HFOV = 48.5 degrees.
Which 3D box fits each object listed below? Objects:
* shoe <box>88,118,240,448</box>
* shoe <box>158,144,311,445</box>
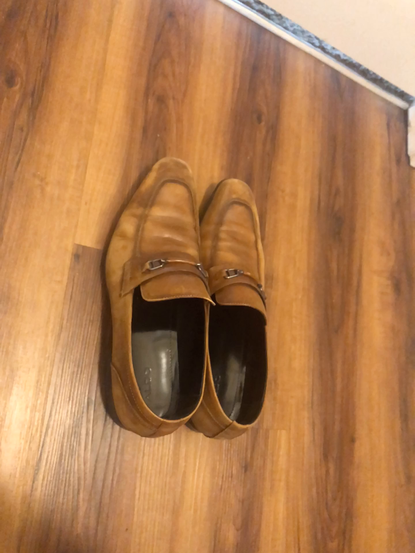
[{"bbox_3d":[-0.045,0.011,0.493,0.107,0.111,0.308,9,76,-29],"label":"shoe"},{"bbox_3d":[0.034,0.024,0.536,0.107,0.111,0.308,14,73,-27],"label":"shoe"}]
